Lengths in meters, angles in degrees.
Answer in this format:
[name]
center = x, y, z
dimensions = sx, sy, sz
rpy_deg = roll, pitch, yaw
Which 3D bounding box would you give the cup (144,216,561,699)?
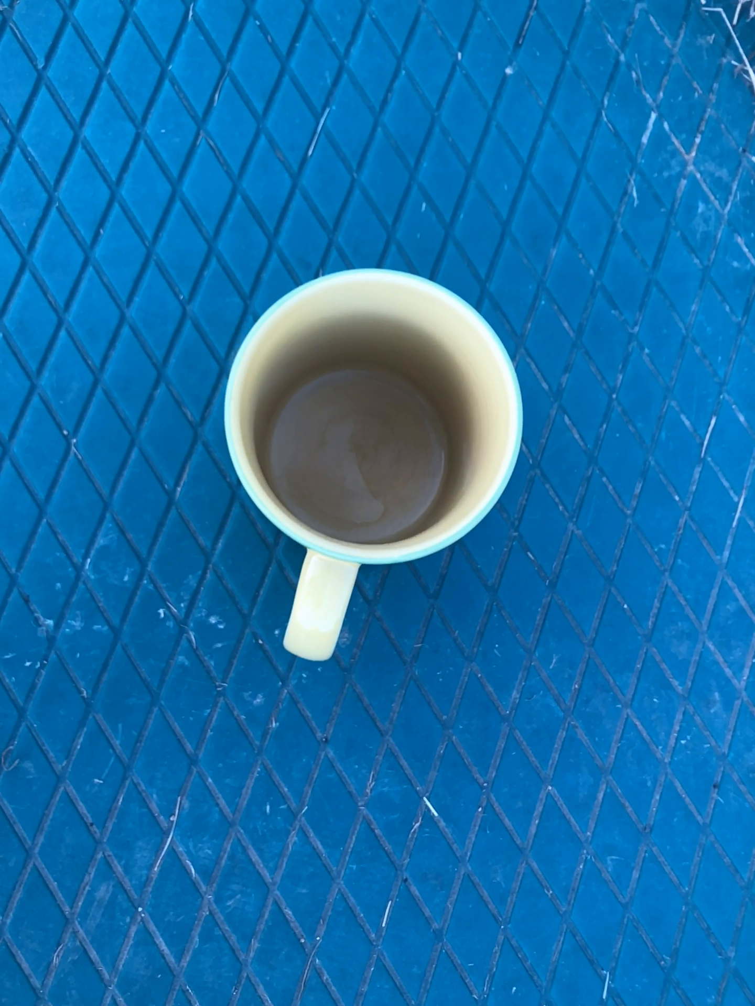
[cup]
center = -0.008, -0.008, 0.274
dimensions = 0.086, 0.090, 0.115
rpy_deg = 17, 81, -3
